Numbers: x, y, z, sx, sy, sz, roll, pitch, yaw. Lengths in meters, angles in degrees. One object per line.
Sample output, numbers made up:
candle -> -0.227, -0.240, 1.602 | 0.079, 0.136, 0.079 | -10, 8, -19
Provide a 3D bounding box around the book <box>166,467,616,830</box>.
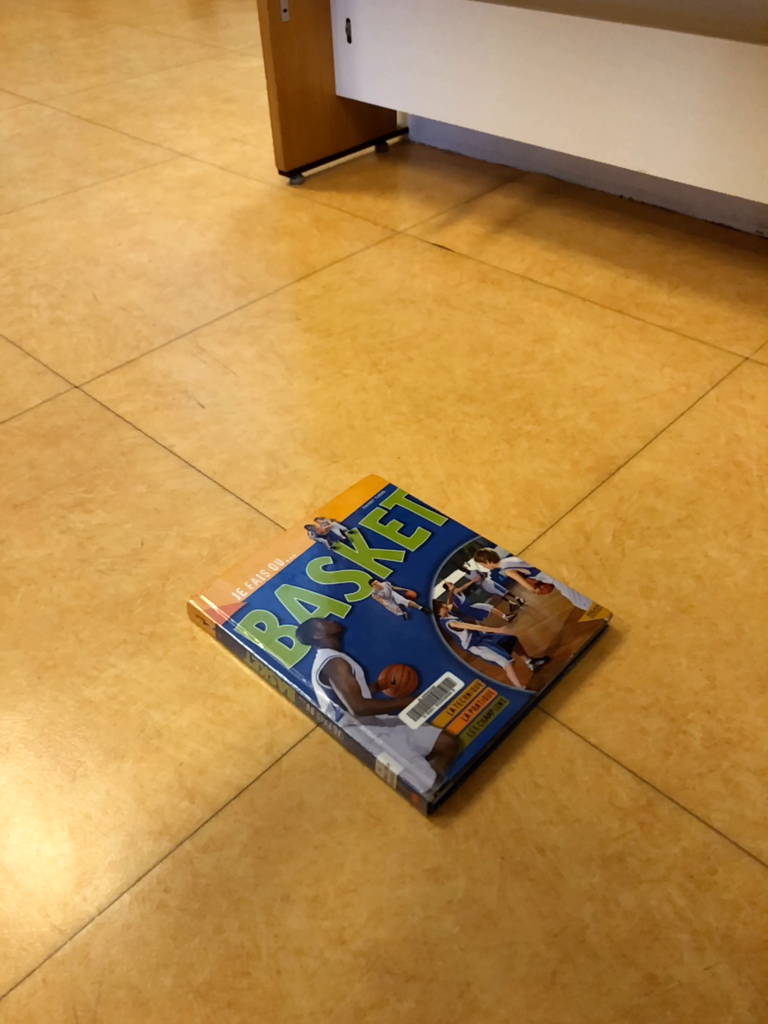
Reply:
book -> 0.002, 0.076, 0.626 | 0.257, 0.020, 0.211 | 31, 51, 32
